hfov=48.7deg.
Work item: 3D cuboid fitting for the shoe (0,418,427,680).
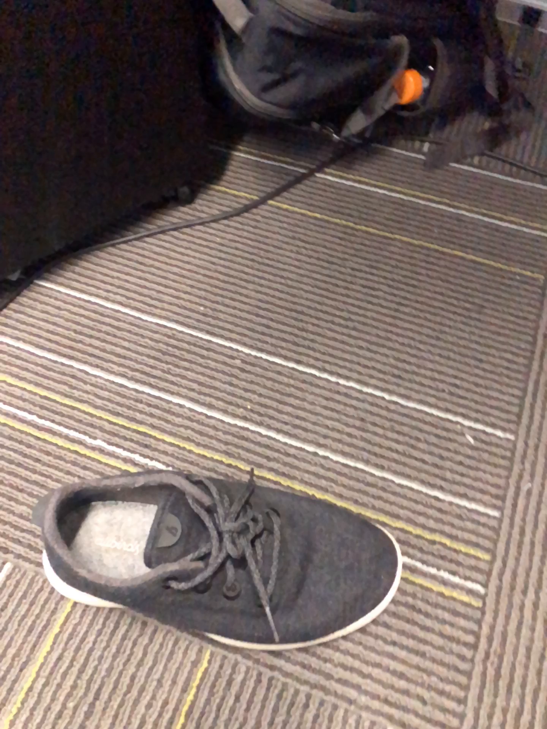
[{"bbox_3d":[-0.039,0.123,0.413,0.270,0.070,0.120,7,58,5],"label":"shoe"}]
